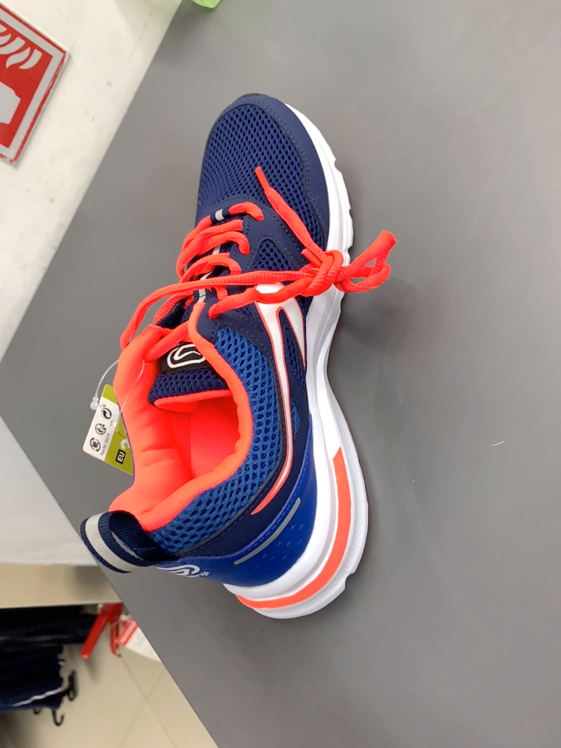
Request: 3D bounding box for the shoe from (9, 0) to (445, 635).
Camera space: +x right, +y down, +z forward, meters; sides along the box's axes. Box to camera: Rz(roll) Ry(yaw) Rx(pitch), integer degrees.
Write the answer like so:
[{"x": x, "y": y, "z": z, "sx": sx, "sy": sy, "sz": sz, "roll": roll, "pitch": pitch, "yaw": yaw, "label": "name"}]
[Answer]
[{"x": -0.020, "y": -0.037, "z": 0.285, "sx": 0.111, "sy": 0.139, "sz": 0.290, "roll": -17, "pitch": 65, "yaw": 34, "label": "shoe"}]
